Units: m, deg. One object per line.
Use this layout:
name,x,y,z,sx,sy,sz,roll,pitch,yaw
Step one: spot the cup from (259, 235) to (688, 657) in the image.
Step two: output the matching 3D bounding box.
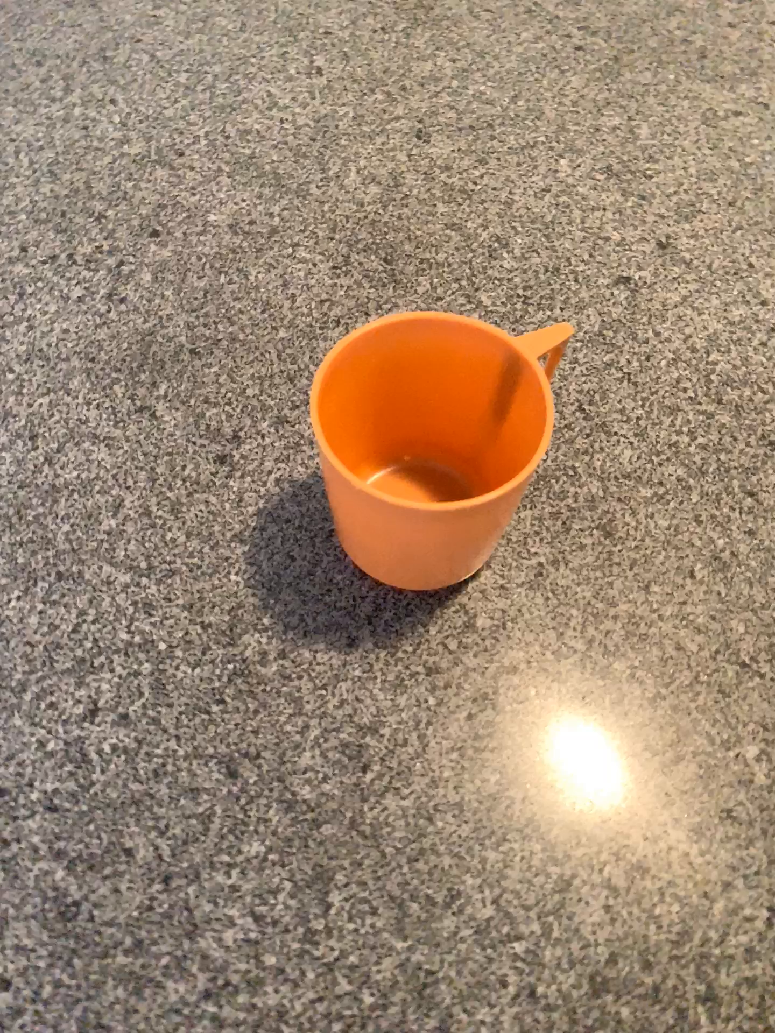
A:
cup,0.025,-0.024,0.290,0.110,0.090,0.080,-27,65,-17
